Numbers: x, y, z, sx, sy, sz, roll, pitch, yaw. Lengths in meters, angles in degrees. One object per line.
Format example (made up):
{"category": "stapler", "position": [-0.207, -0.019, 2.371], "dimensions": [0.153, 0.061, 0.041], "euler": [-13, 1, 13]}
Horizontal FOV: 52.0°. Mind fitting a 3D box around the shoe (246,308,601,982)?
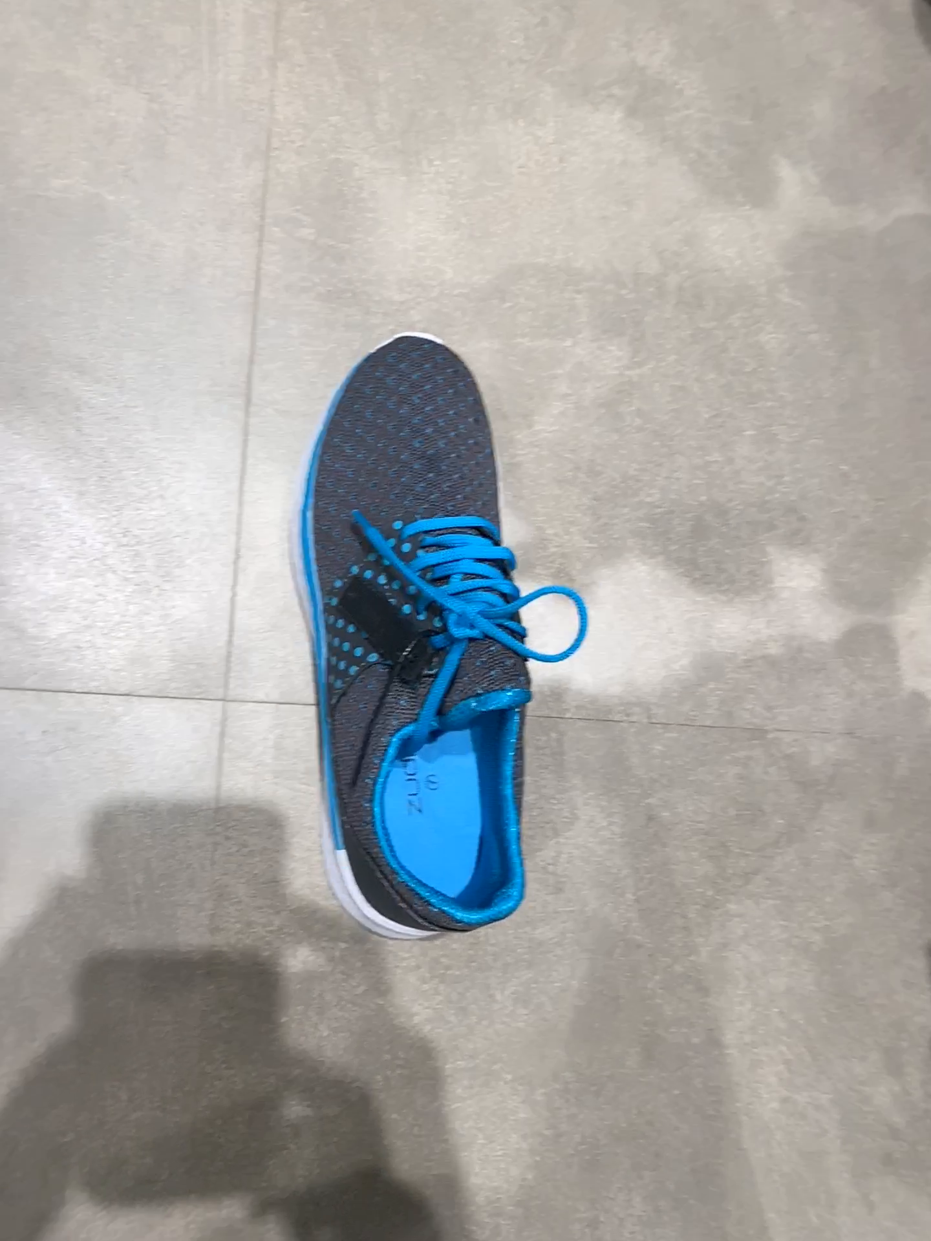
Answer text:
{"category": "shoe", "position": [-0.025, 0.008, 0.384], "dimensions": [0.102, 0.102, 0.227], "euler": [-3, 84, -17]}
